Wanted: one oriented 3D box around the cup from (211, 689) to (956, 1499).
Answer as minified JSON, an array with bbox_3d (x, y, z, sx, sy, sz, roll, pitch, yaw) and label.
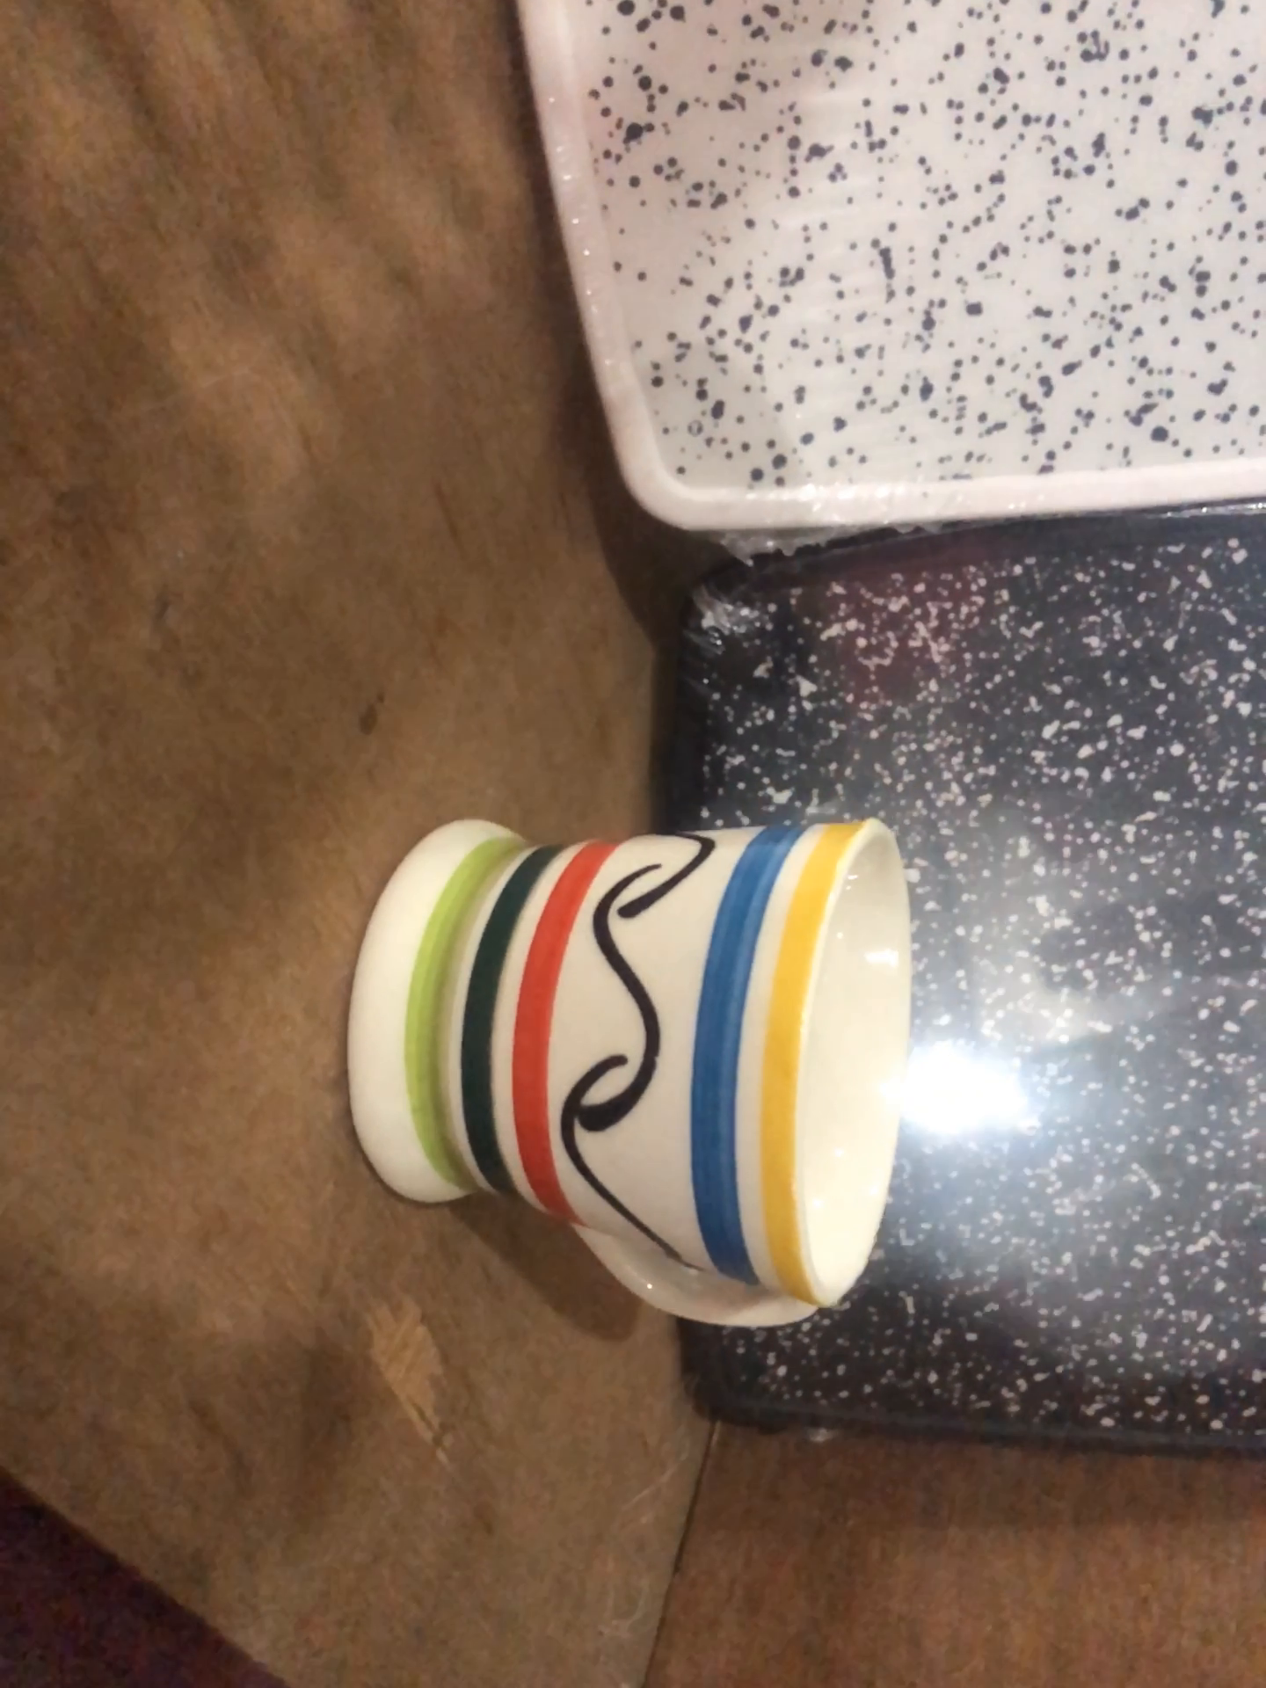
[{"bbox_3d":[0.002,0.036,0.218,0.060,0.079,0.100,-60,147,-47],"label":"cup"}]
